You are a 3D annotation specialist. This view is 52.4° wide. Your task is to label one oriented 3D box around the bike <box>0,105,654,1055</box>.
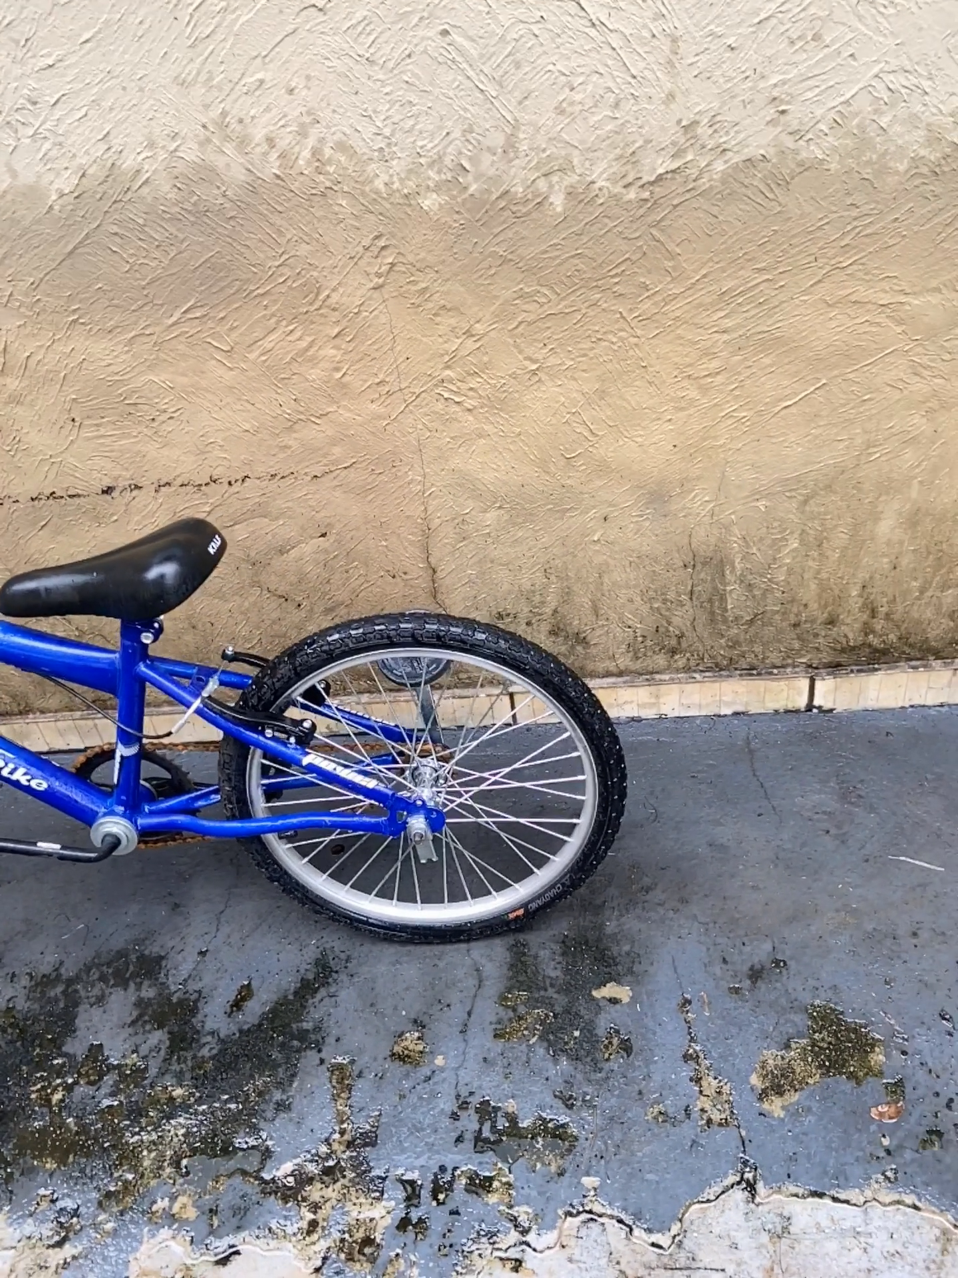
[{"bbox_3d":[-0.486,-0.021,1.085,1.249,0.849,0.546,-3,38,5],"label":"bike"}]
